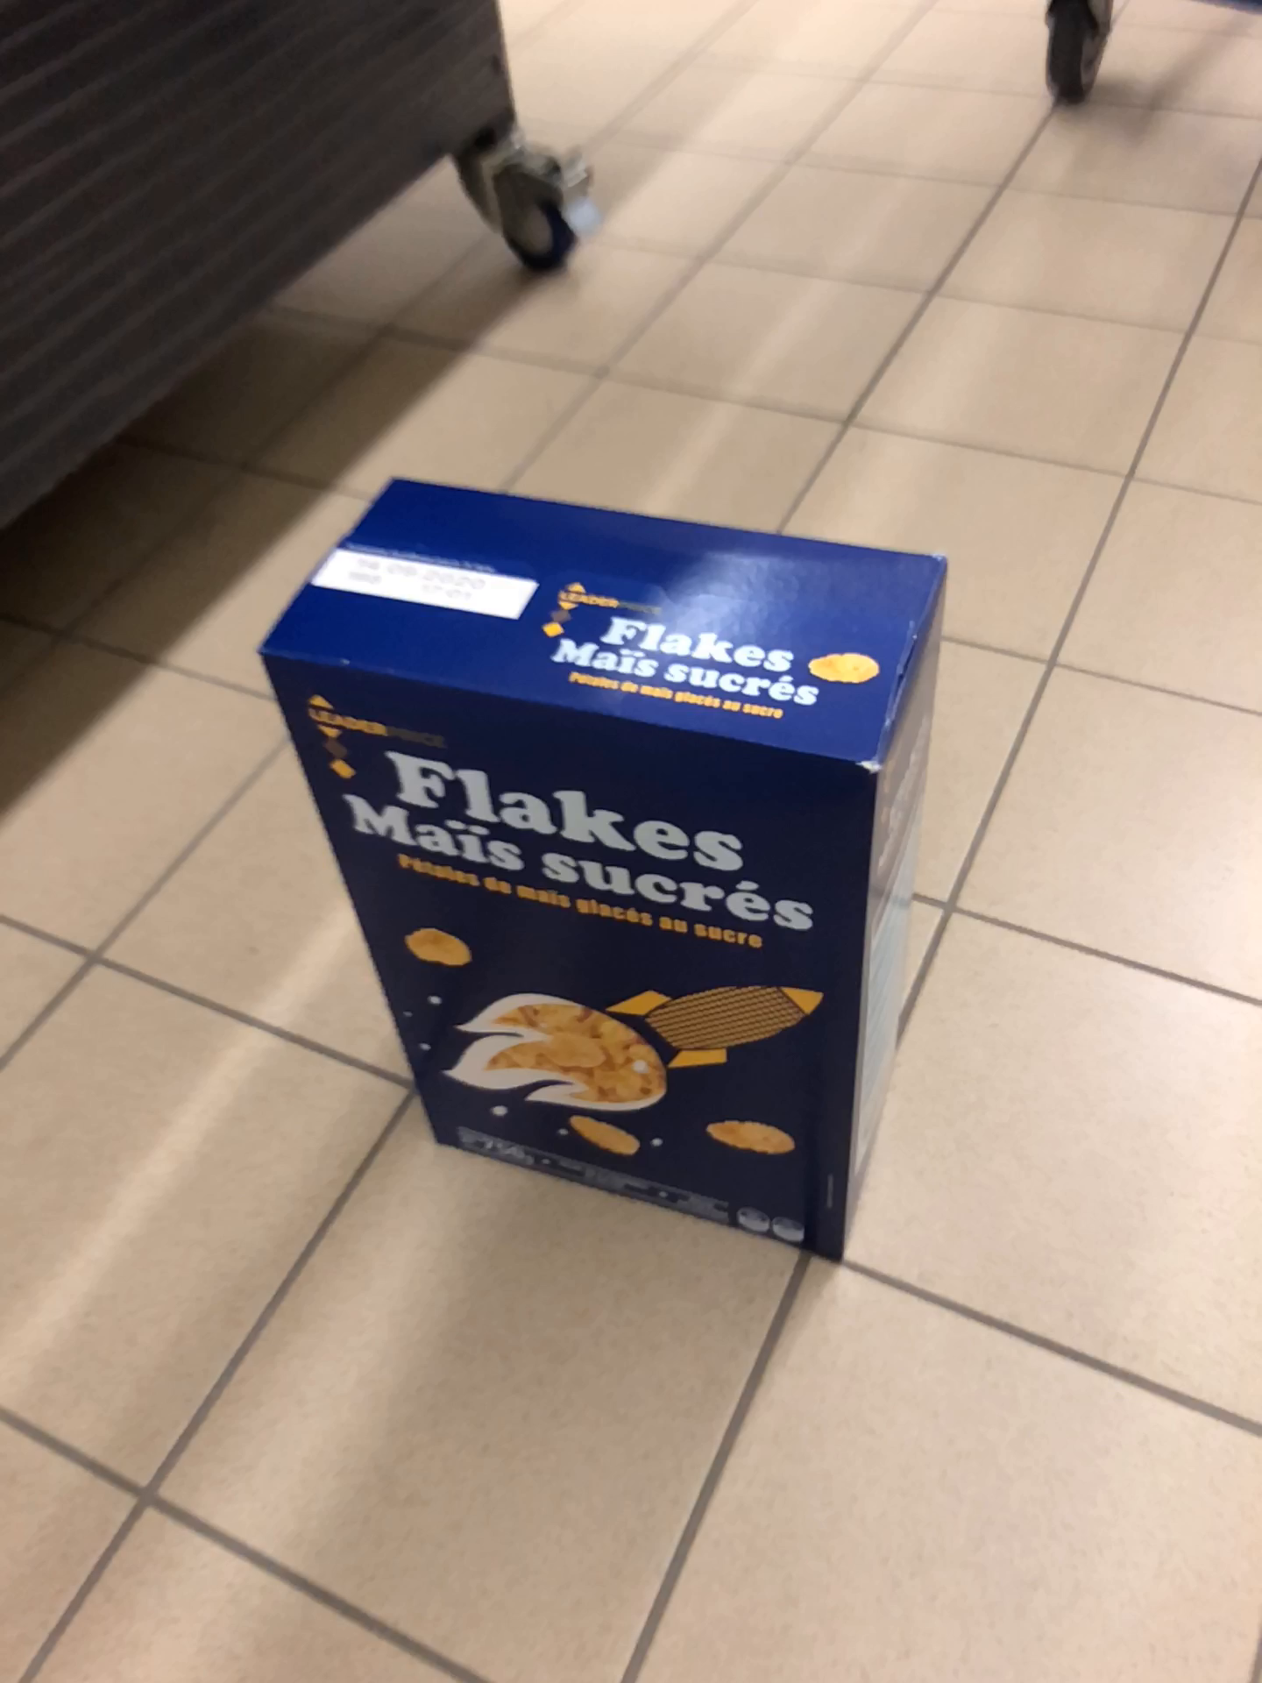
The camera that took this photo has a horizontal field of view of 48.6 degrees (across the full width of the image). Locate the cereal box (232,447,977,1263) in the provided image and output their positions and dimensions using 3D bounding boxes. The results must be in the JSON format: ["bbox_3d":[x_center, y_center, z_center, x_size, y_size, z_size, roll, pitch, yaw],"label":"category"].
[{"bbox_3d":[0.005,0.021,0.546,0.210,0.308,0.101,12,50,17],"label":"cereal box"}]
